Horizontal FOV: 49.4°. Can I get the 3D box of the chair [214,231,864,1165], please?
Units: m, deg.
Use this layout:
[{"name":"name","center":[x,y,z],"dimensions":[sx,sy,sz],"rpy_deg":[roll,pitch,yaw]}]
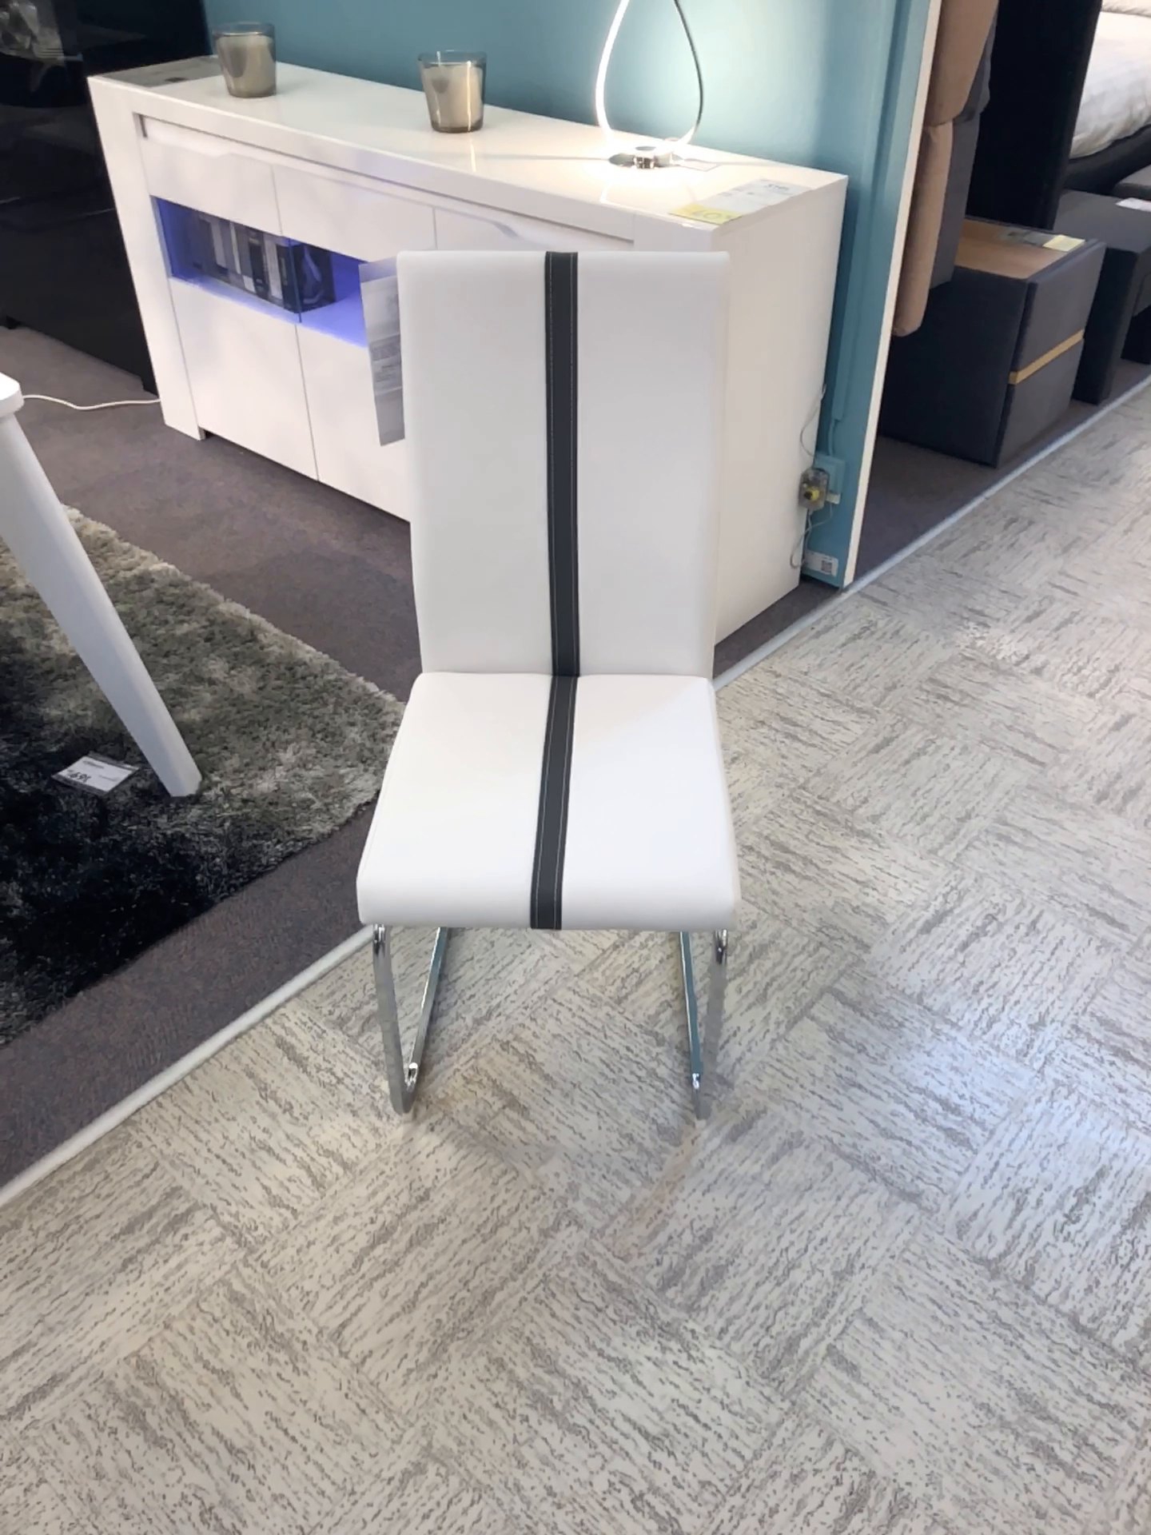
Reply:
[{"name":"chair","center":[-0.005,-0.067,1.428],"dimensions":[0.487,0.878,0.573],"rpy_deg":[2,39,4]}]
